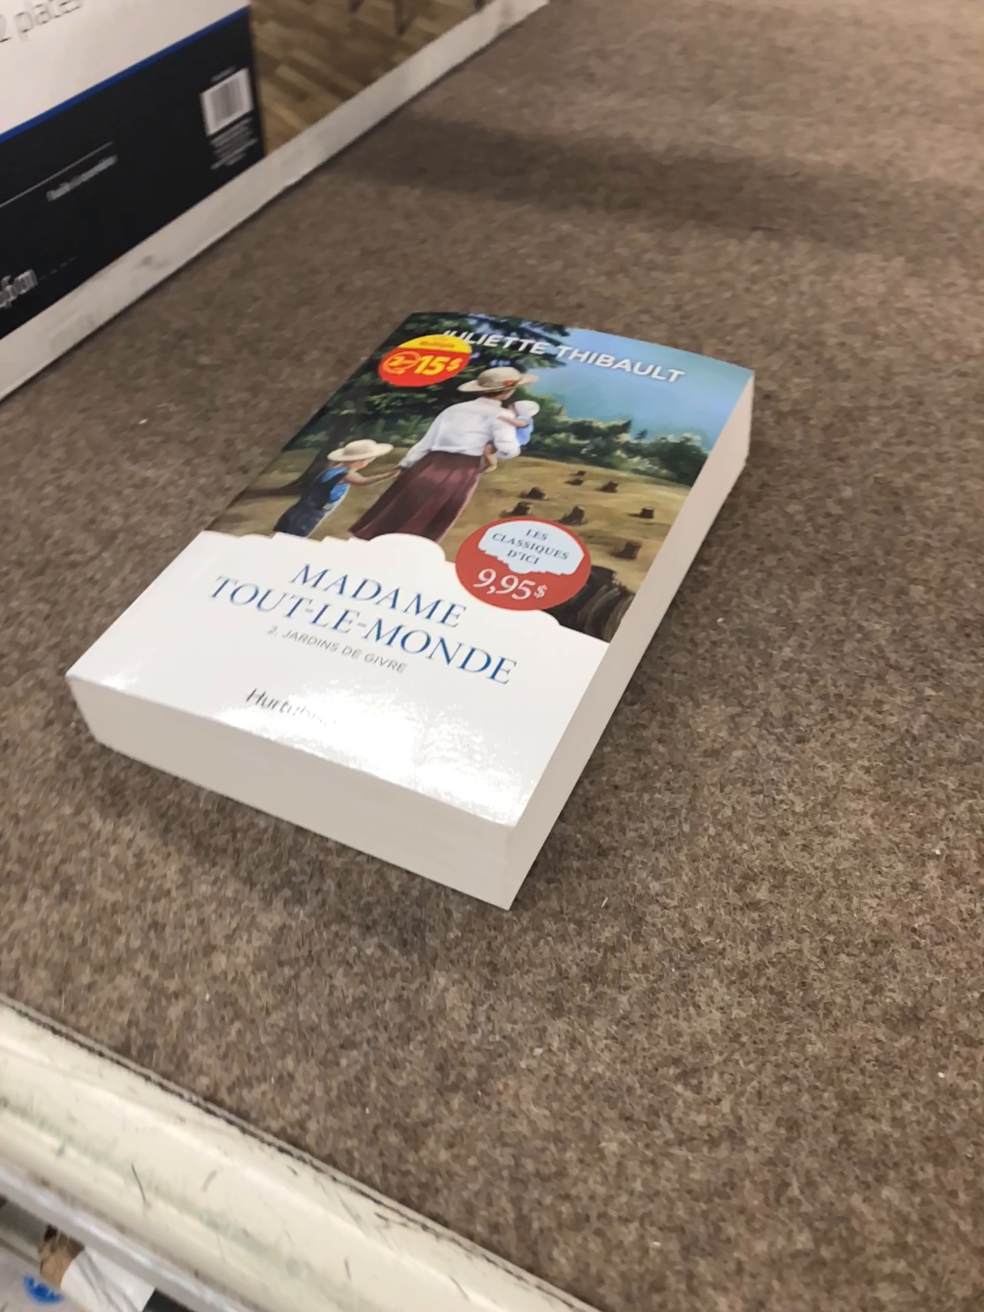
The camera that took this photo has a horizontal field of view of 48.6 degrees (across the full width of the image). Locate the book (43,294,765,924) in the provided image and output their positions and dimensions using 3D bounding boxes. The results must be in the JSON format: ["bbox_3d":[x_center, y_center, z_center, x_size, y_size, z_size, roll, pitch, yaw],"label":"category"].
[{"bbox_3d":[-0.016,-0.038,0.387,0.160,0.050,0.222,16,52,21],"label":"book"}]
